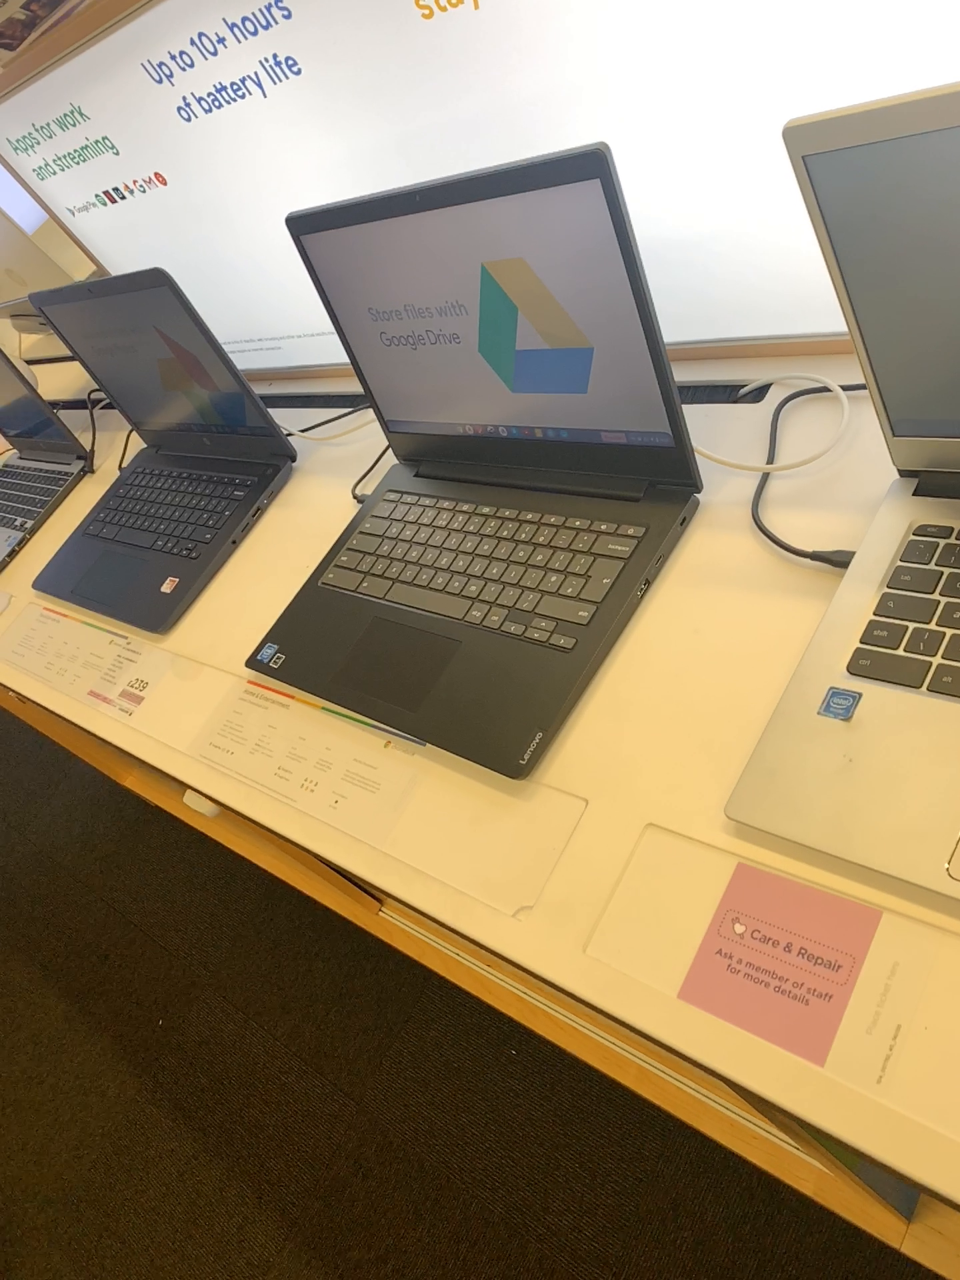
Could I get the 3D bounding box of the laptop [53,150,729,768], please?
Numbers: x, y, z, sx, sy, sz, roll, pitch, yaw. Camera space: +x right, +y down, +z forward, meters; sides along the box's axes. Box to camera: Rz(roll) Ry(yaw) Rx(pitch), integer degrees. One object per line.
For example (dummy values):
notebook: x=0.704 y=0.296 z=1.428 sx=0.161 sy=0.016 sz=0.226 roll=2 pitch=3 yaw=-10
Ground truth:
laptop: x=-0.064 y=-0.125 z=0.671 sx=0.317 sy=0.201 sz=0.281 roll=15 pitch=65 yaw=46
